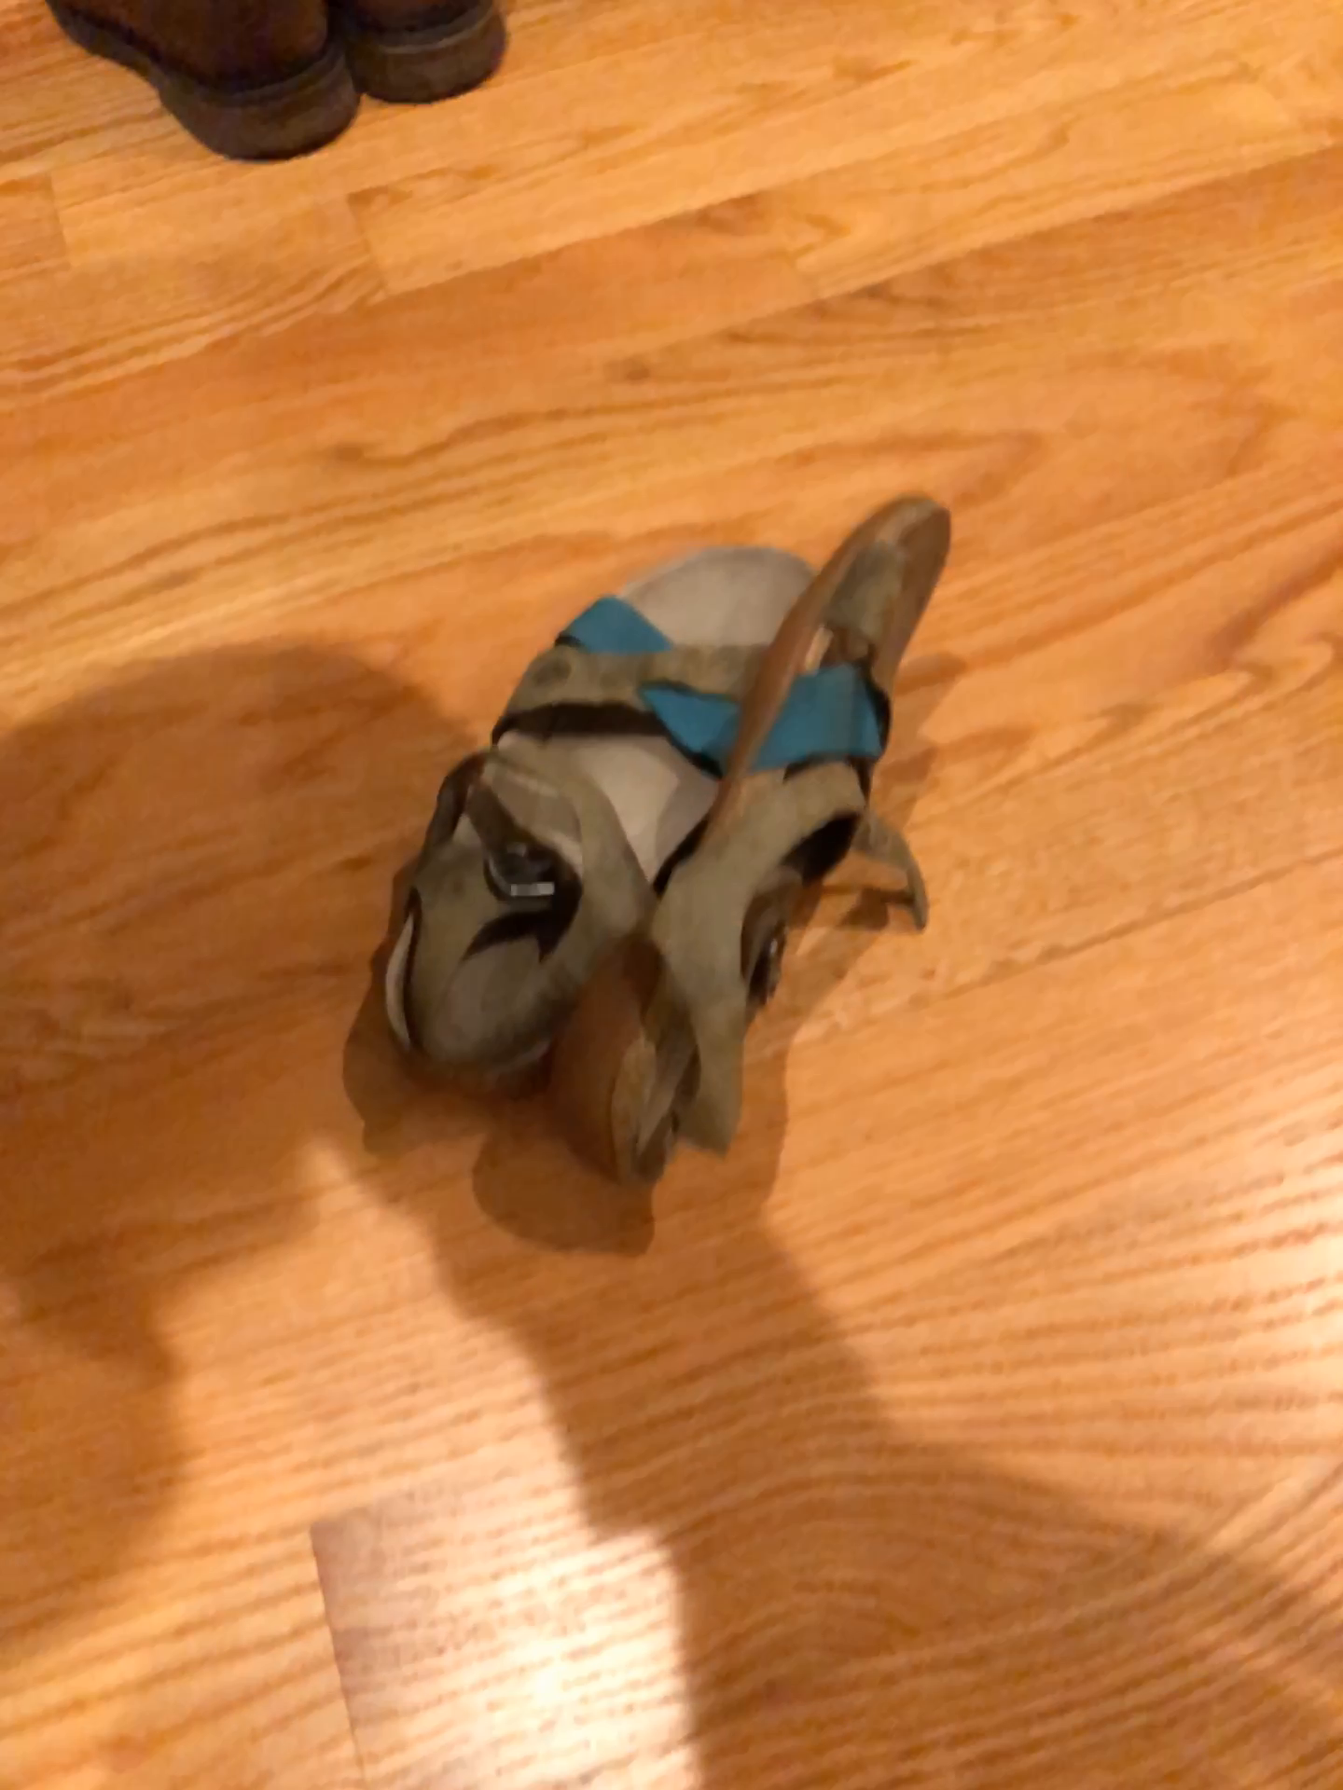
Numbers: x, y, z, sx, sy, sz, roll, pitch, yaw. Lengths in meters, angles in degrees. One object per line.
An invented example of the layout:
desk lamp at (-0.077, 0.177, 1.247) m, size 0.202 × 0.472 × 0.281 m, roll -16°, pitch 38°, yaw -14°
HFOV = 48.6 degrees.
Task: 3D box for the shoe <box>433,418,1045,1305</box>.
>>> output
shoe at (0.030, -0.015, 0.438) m, size 0.065 × 0.104 × 0.238 m, roll 22°, pitch 63°, yaw 17°

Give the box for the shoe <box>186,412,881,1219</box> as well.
shoe at (-0.030, -0.035, 0.479) m, size 0.104 × 0.075 × 0.241 m, roll 22°, pitch 63°, yaw 16°
